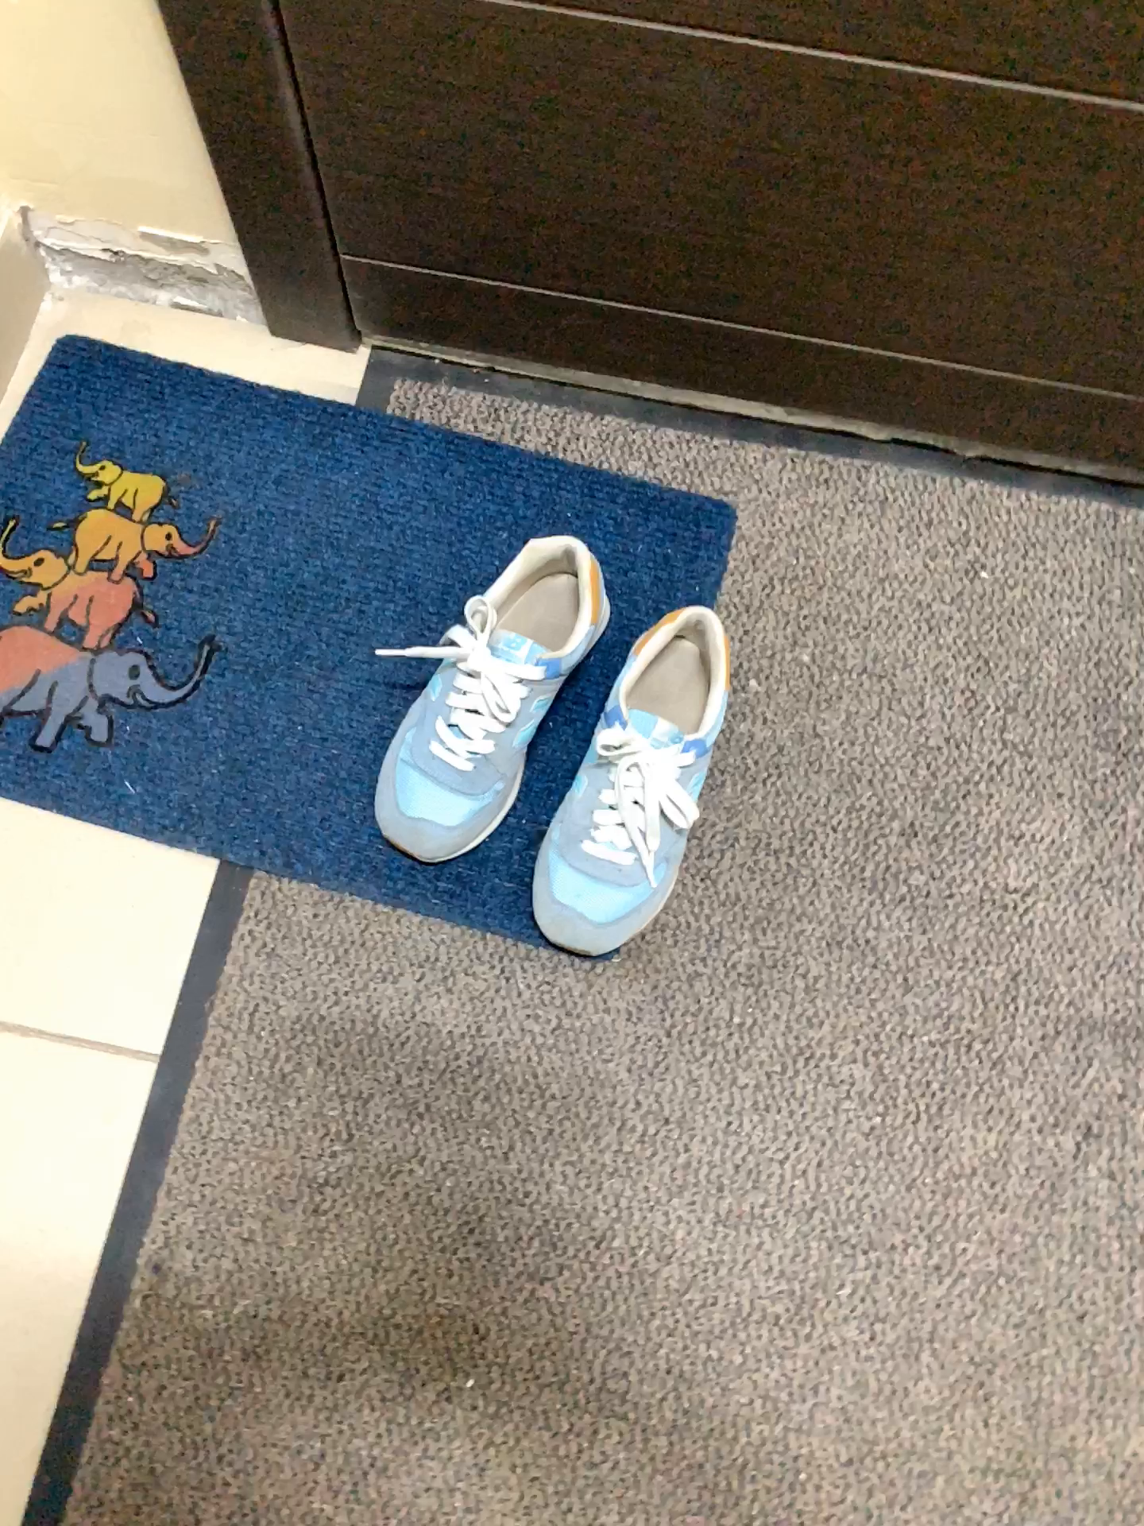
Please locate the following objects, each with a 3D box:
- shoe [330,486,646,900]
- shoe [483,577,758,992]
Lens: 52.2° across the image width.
[{"bbox_3d":[-0.057,-0.045,0.829,0.080,0.140,0.260,31,73,3],"label":"shoe"},{"bbox_3d":[0.037,0.017,0.815,0.090,0.120,0.250,22,72,9],"label":"shoe"}]
